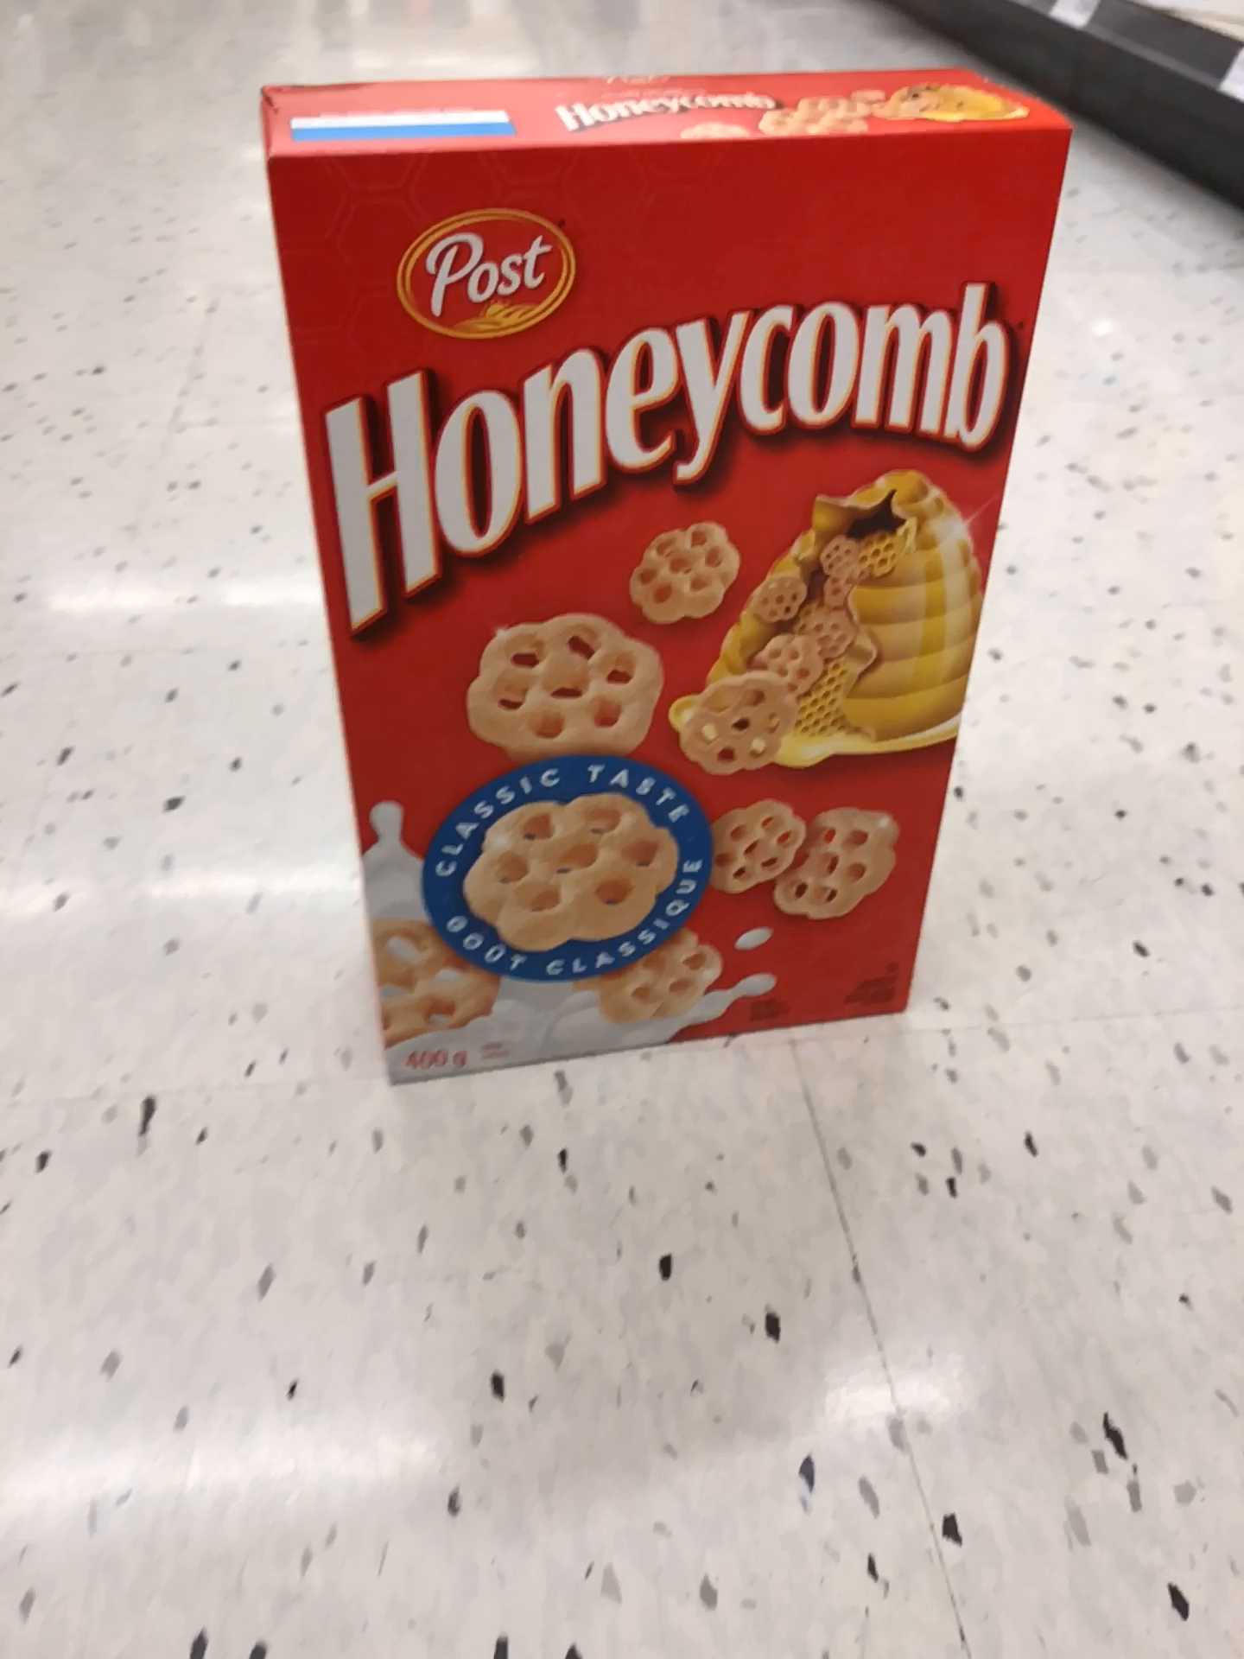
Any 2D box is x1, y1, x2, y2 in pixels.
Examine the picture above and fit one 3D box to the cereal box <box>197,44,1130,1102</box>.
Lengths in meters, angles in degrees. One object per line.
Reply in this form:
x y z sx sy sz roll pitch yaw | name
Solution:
0.003 -0.065 0.428 0.210 0.298 0.091 -7 39 -10 | cereal box
